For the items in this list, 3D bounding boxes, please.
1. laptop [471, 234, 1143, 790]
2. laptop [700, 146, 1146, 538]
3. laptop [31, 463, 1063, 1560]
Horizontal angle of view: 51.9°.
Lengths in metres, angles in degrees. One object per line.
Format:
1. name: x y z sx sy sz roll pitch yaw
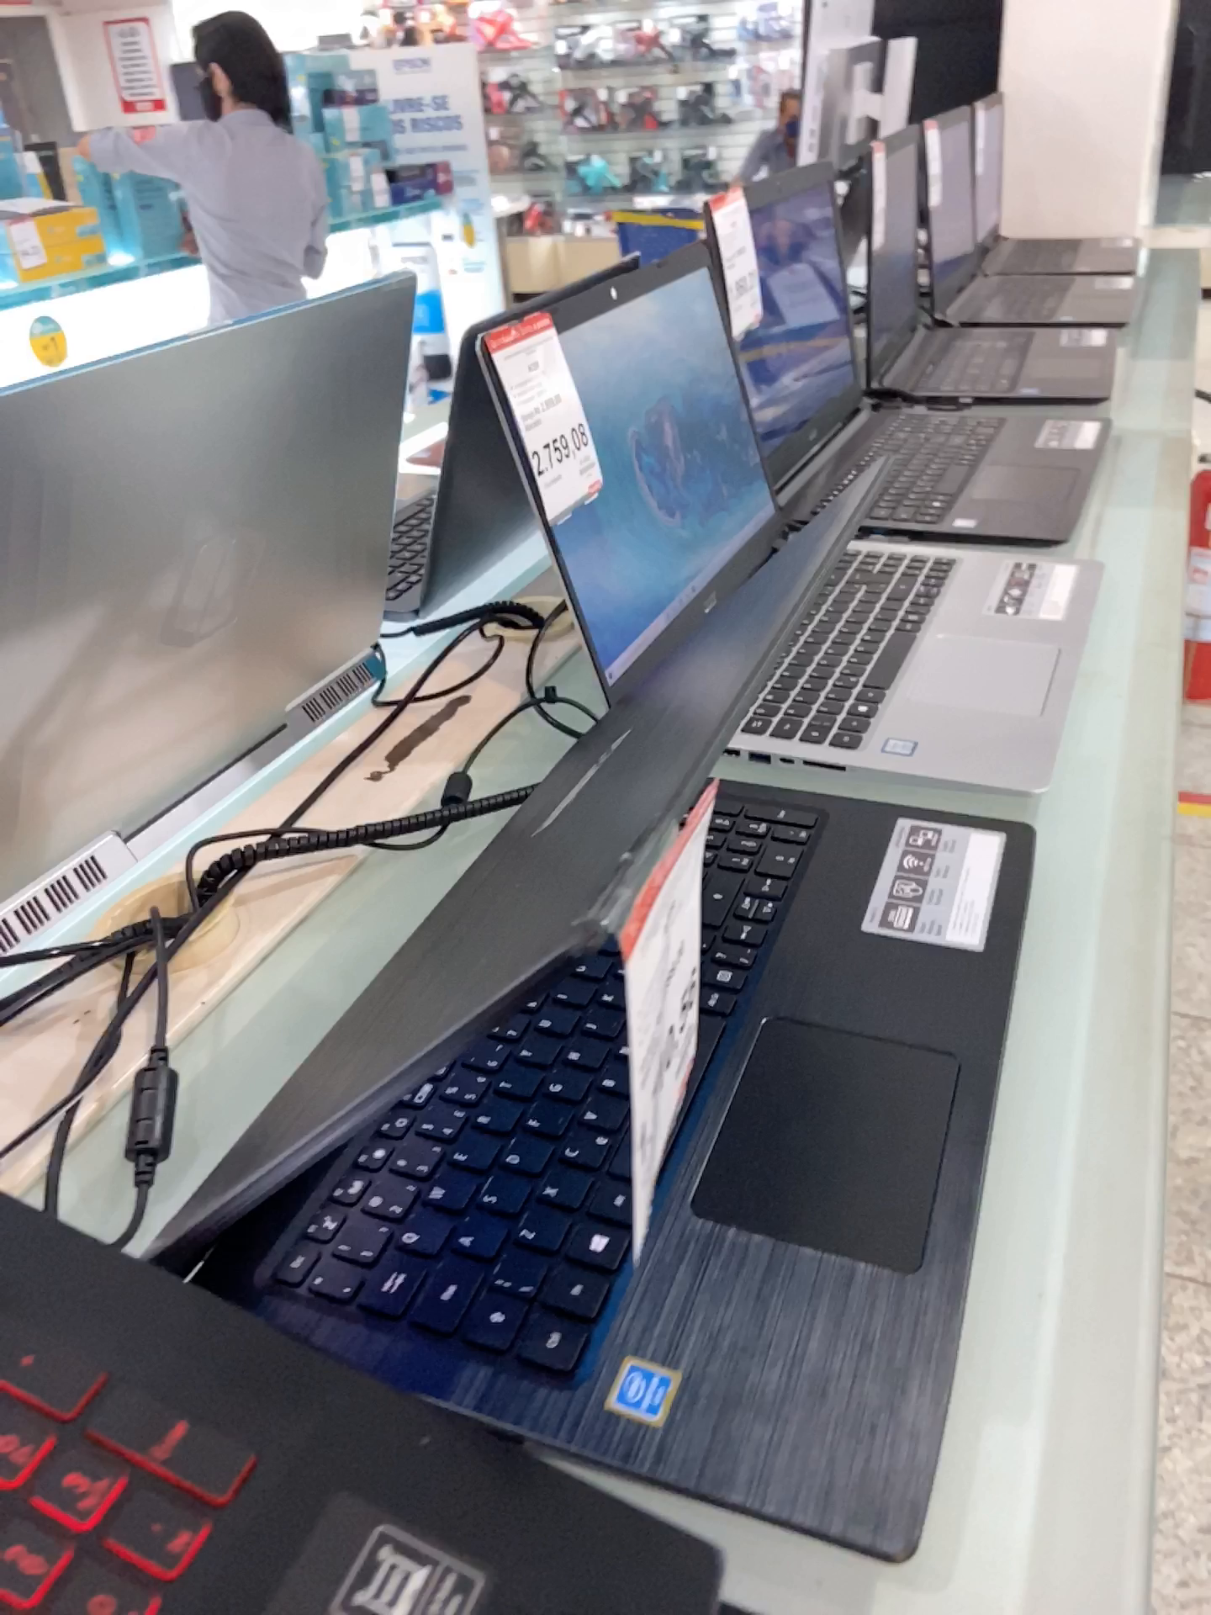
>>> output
1. laptop: 0.151 -0.219 0.801 0.313 0.227 0.364 9 33 22
2. laptop: 0.302 -0.444 1.141 0.299 0.249 0.387 10 34 22
3. laptop: 0.033 0.012 0.472 0.230 0.169 0.377 9 32 19
